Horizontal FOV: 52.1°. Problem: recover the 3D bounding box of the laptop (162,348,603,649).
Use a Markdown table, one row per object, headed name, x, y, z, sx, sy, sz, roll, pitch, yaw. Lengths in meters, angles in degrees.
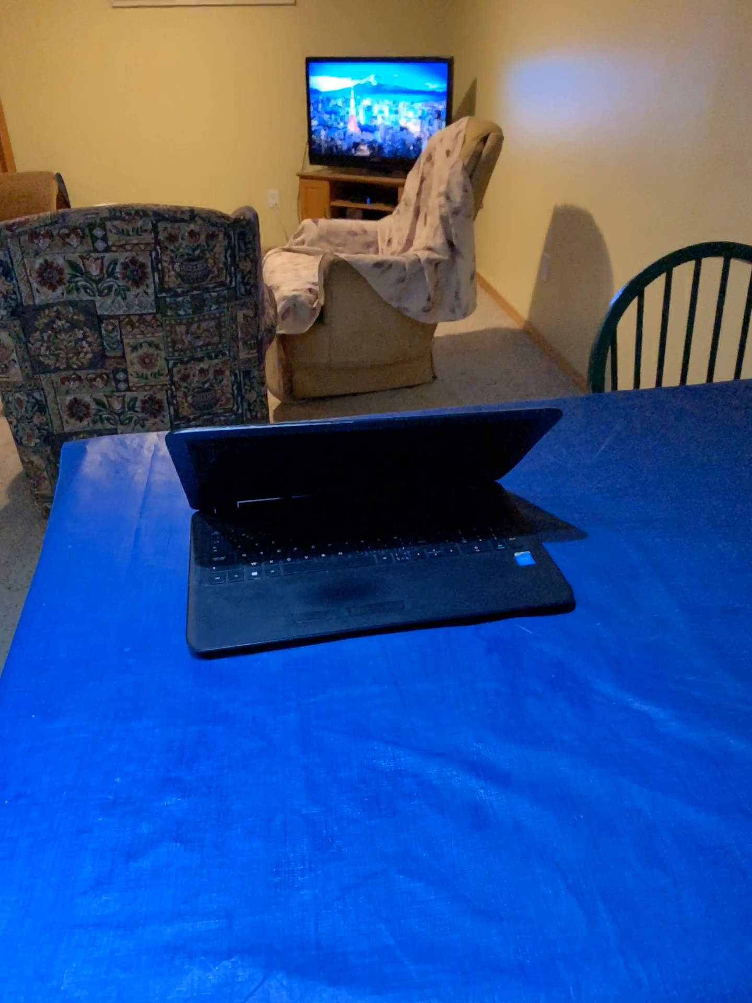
| name | x | y | z | sx | sy | sz | roll | pitch | yaw |
| --- | --- | --- | --- | --- | --- | --- | --- | --- | --- |
| laptop | -0.009 | -0.021 | 0.784 | 0.370 | 0.167 | 0.254 | -5 | 30 | -8 |
